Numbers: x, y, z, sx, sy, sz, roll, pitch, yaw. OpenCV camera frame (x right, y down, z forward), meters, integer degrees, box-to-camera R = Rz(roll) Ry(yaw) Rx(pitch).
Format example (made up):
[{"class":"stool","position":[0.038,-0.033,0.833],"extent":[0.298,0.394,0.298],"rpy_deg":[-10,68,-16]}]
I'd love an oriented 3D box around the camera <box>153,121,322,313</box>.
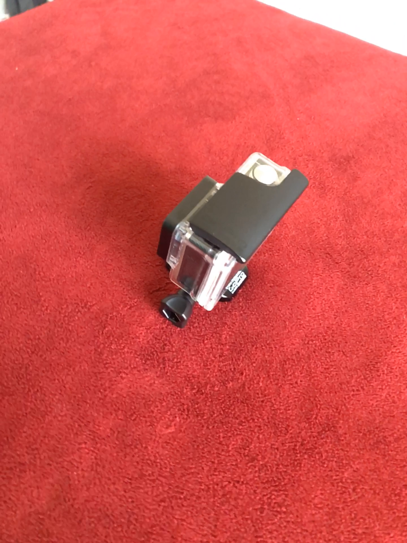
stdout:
[{"class":"camera","position":[0.016,-0.027,0.224],"extent":[0.040,0.050,0.073],"rpy_deg":[36,58,8]}]
